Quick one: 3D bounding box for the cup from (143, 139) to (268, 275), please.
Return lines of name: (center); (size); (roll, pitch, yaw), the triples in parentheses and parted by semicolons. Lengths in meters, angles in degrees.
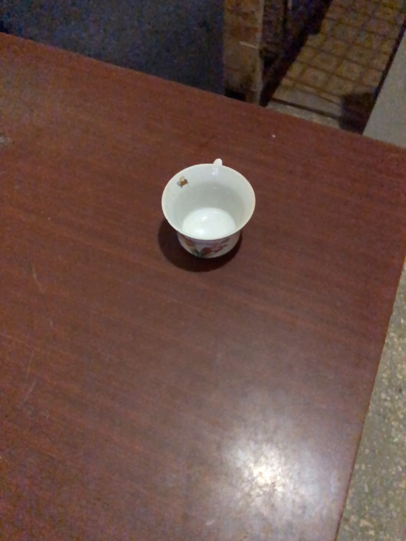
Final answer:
cup: (0.005, -0.066, 0.461); (0.100, 0.059, 0.110); (12, 63, 7)
